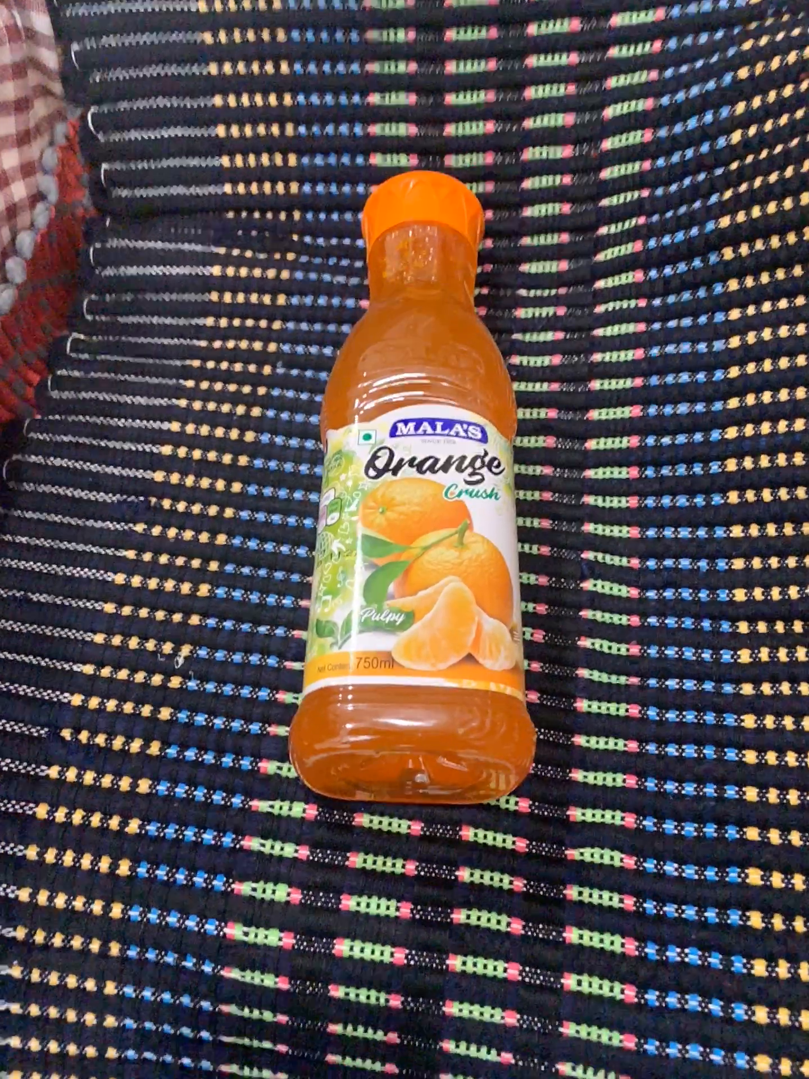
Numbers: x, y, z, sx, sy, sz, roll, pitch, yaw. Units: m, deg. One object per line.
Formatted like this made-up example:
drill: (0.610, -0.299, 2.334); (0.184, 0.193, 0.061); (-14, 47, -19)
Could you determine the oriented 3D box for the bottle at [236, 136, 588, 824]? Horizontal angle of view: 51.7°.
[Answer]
bottle: (0.007, -0.030, 0.281); (0.080, 0.080, 0.221); (4, 59, 0)
